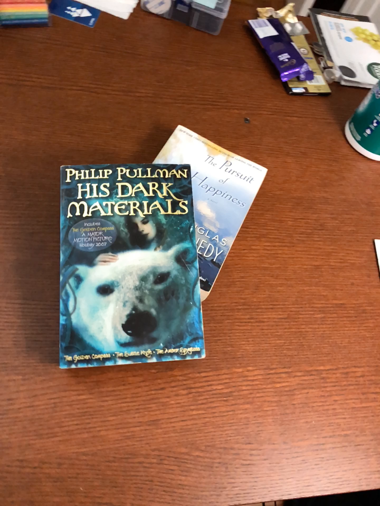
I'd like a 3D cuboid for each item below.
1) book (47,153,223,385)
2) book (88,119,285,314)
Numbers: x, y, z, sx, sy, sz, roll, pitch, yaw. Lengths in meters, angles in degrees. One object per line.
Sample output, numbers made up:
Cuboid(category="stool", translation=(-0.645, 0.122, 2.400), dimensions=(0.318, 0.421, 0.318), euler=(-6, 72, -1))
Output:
Cuboid(category="book", translation=(-0.065, 0.012, 0.468), dimensions=(0.170, 0.060, 0.240), euler=(-3, 76, -11))
Cuboid(category="book", translation=(0.003, -0.063, 0.576), dimensions=(0.170, 0.040, 0.241), euler=(28, 62, 8))
